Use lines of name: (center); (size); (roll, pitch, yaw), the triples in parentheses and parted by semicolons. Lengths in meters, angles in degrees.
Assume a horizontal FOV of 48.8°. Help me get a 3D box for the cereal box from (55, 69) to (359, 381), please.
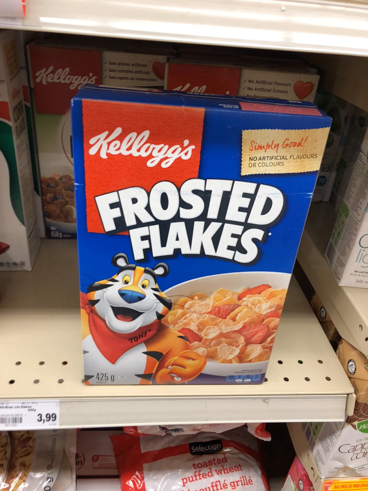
cereal box: (0.007, 0.001, 0.371); (0.210, 0.278, 0.060); (2, 29, -6)
